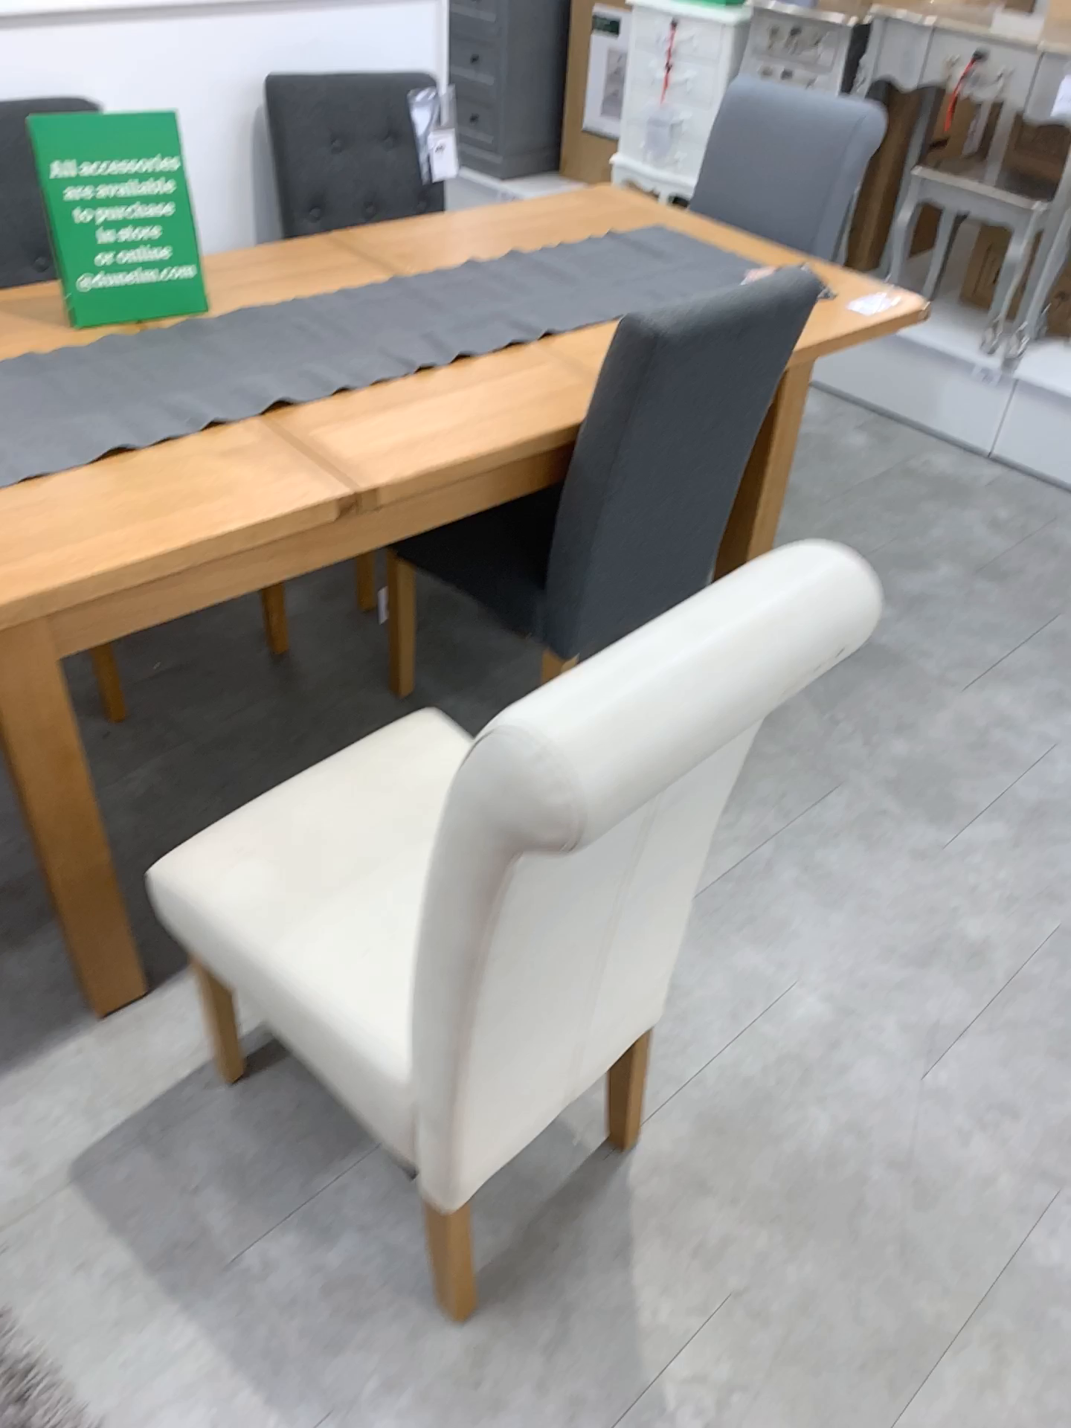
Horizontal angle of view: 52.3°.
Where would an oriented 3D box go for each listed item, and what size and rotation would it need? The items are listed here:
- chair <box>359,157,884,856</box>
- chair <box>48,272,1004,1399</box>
[{"bbox_3d":[0.092,-0.353,1.849,0.485,0.905,0.585,-28,49,-33],"label":"chair"},{"bbox_3d":[-0.035,0.130,1.187,0.594,0.935,0.516,34,48,31],"label":"chair"}]
